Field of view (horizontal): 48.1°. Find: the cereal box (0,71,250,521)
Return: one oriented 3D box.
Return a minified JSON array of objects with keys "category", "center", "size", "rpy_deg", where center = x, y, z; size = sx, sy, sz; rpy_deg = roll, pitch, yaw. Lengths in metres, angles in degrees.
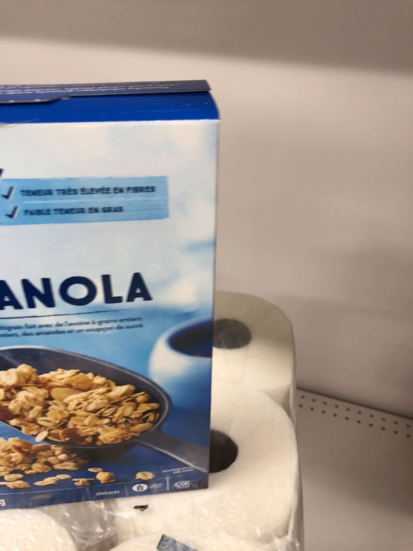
[{"category":"cereal box","center":[-0.068,0.028,0.242],"size":[0.160,0.239,0.060],"rpy_deg":[-2,34,-4]}]
